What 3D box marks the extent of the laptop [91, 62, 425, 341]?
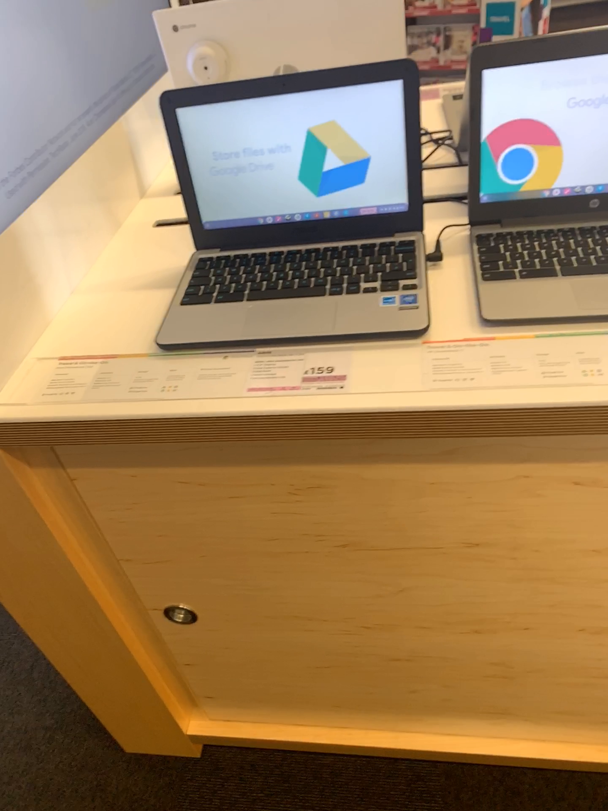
[{"bbox_3d":[-0.025,-0.213,0.659,0.280,0.183,0.217,-2,41,10],"label":"laptop"}]
